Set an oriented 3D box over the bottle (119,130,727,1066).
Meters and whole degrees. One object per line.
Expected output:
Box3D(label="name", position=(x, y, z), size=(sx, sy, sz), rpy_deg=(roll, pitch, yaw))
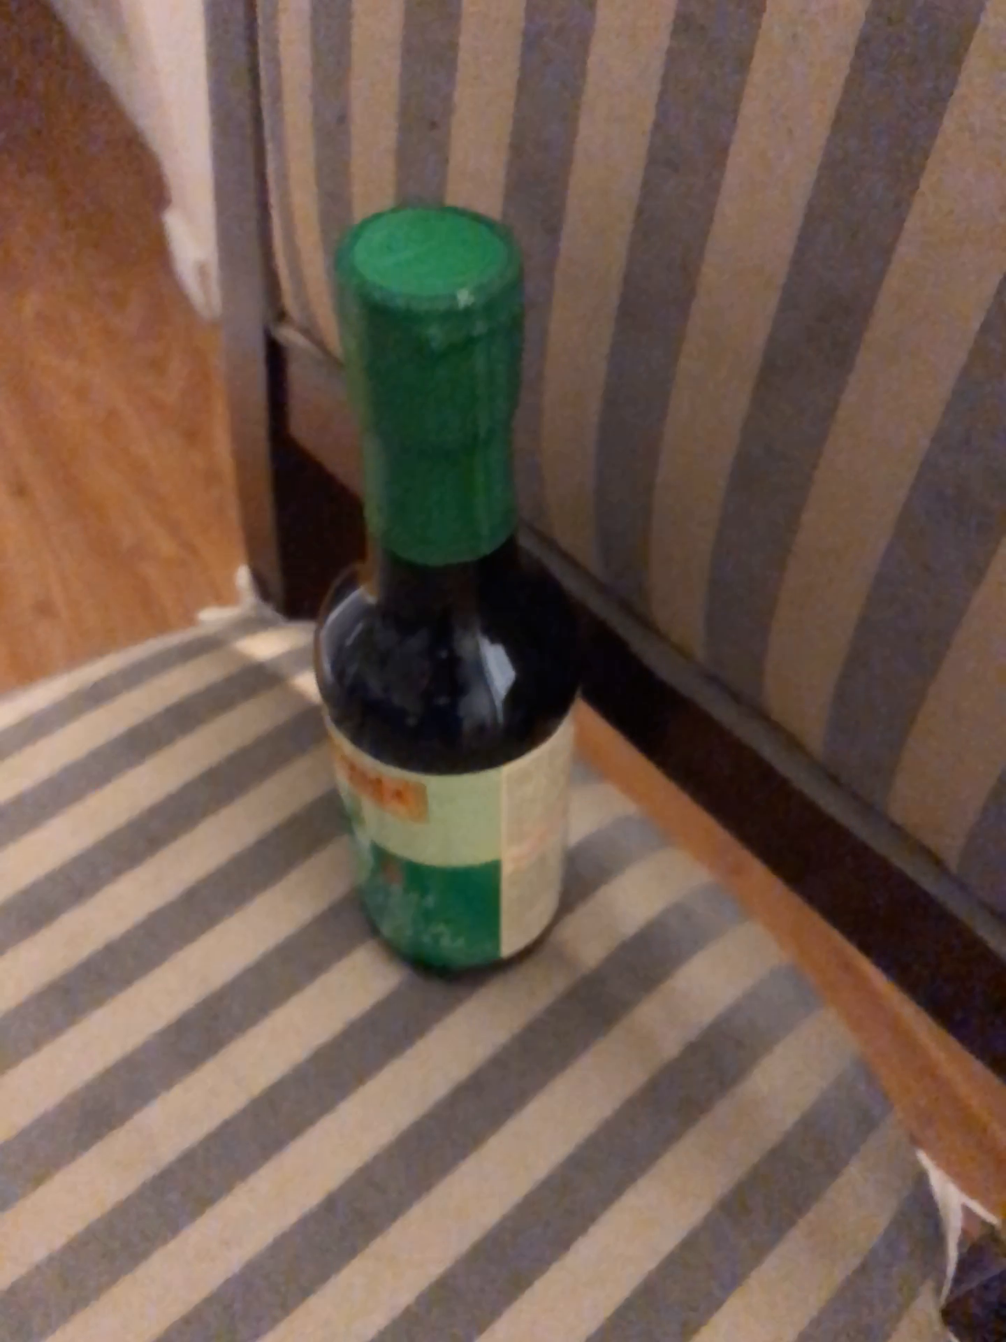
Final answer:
Box3D(label="bottle", position=(-0.015, 0.005, 0.282), size=(0.070, 0.229, 0.080), rpy_deg=(-31, 58, -22))
